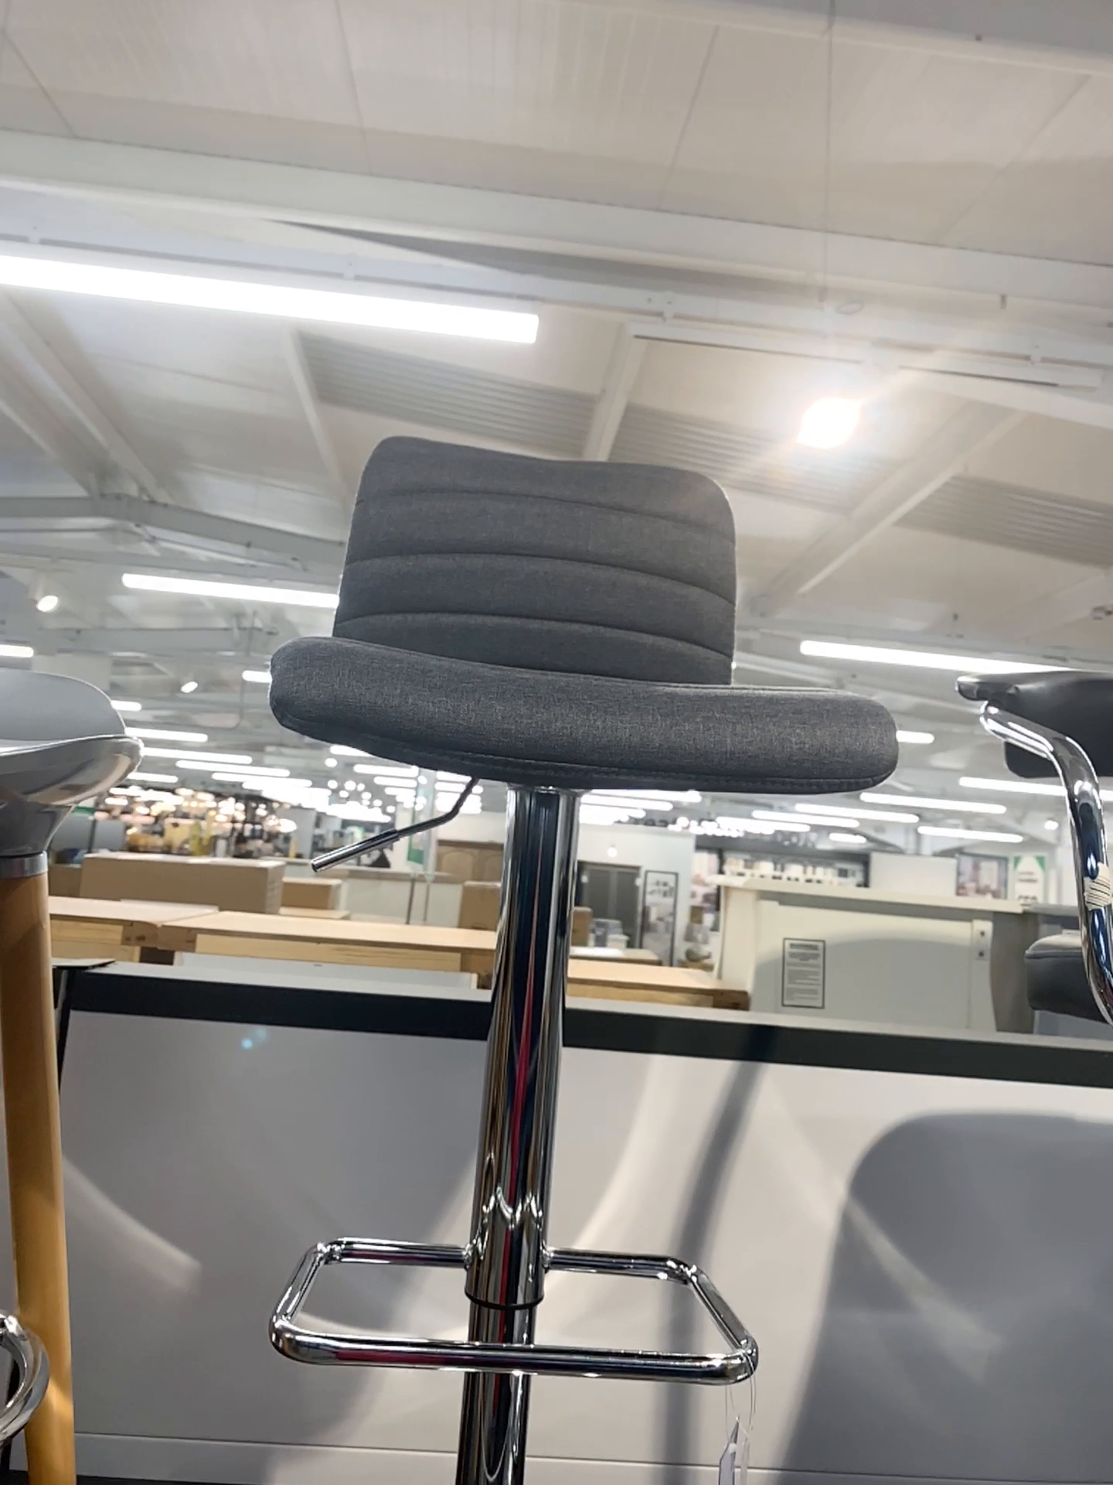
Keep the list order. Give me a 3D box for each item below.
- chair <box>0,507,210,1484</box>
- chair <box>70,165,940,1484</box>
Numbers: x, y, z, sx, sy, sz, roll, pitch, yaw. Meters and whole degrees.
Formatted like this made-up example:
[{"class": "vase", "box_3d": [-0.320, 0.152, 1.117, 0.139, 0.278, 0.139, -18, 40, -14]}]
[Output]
[{"class": "chair", "box_3d": [-0.531, 0.294, 0.754, 0.445, 0.742, 0.451, 5, -7, -8]}, {"class": "chair", "box_3d": [-0.026, 0.188, 0.904, 0.445, 1.033, 0.451, 5, -7, -8]}]
